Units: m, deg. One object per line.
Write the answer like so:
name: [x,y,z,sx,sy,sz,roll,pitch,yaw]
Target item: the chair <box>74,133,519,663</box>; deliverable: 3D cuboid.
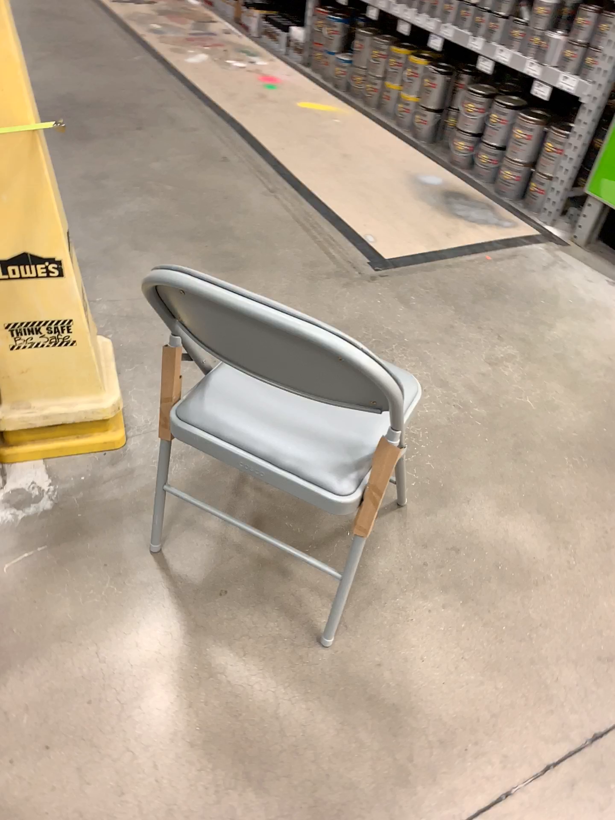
chair: [-0.020,-0.023,1.158,0.487,0.709,0.486,24,44,16]
